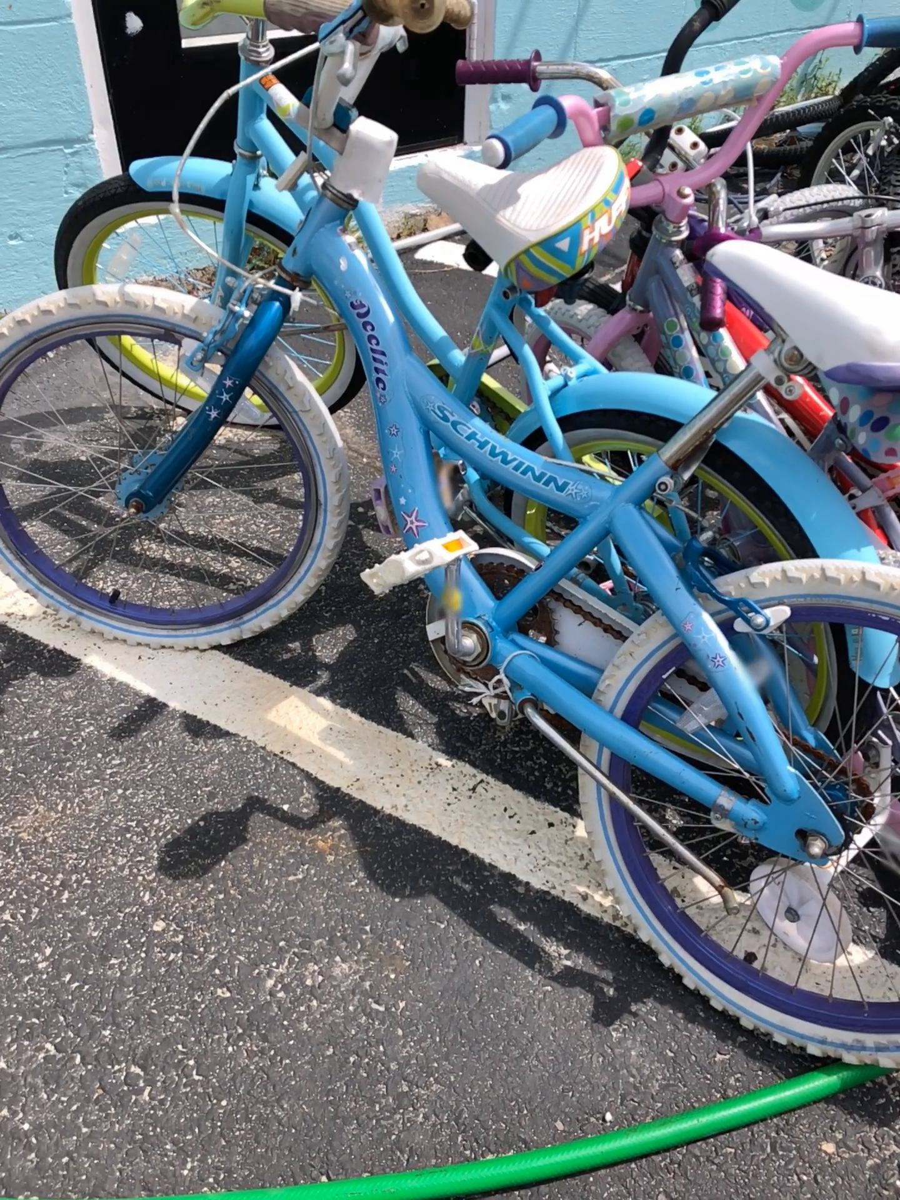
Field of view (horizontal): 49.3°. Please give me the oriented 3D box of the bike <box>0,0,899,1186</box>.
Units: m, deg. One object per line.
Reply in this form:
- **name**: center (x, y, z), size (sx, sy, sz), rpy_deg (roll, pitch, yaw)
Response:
- **bike**: center (0.081, -0.223, 0.931), size (1.266, 0.777, 0.558), rpy_deg (25, 45, 18)
